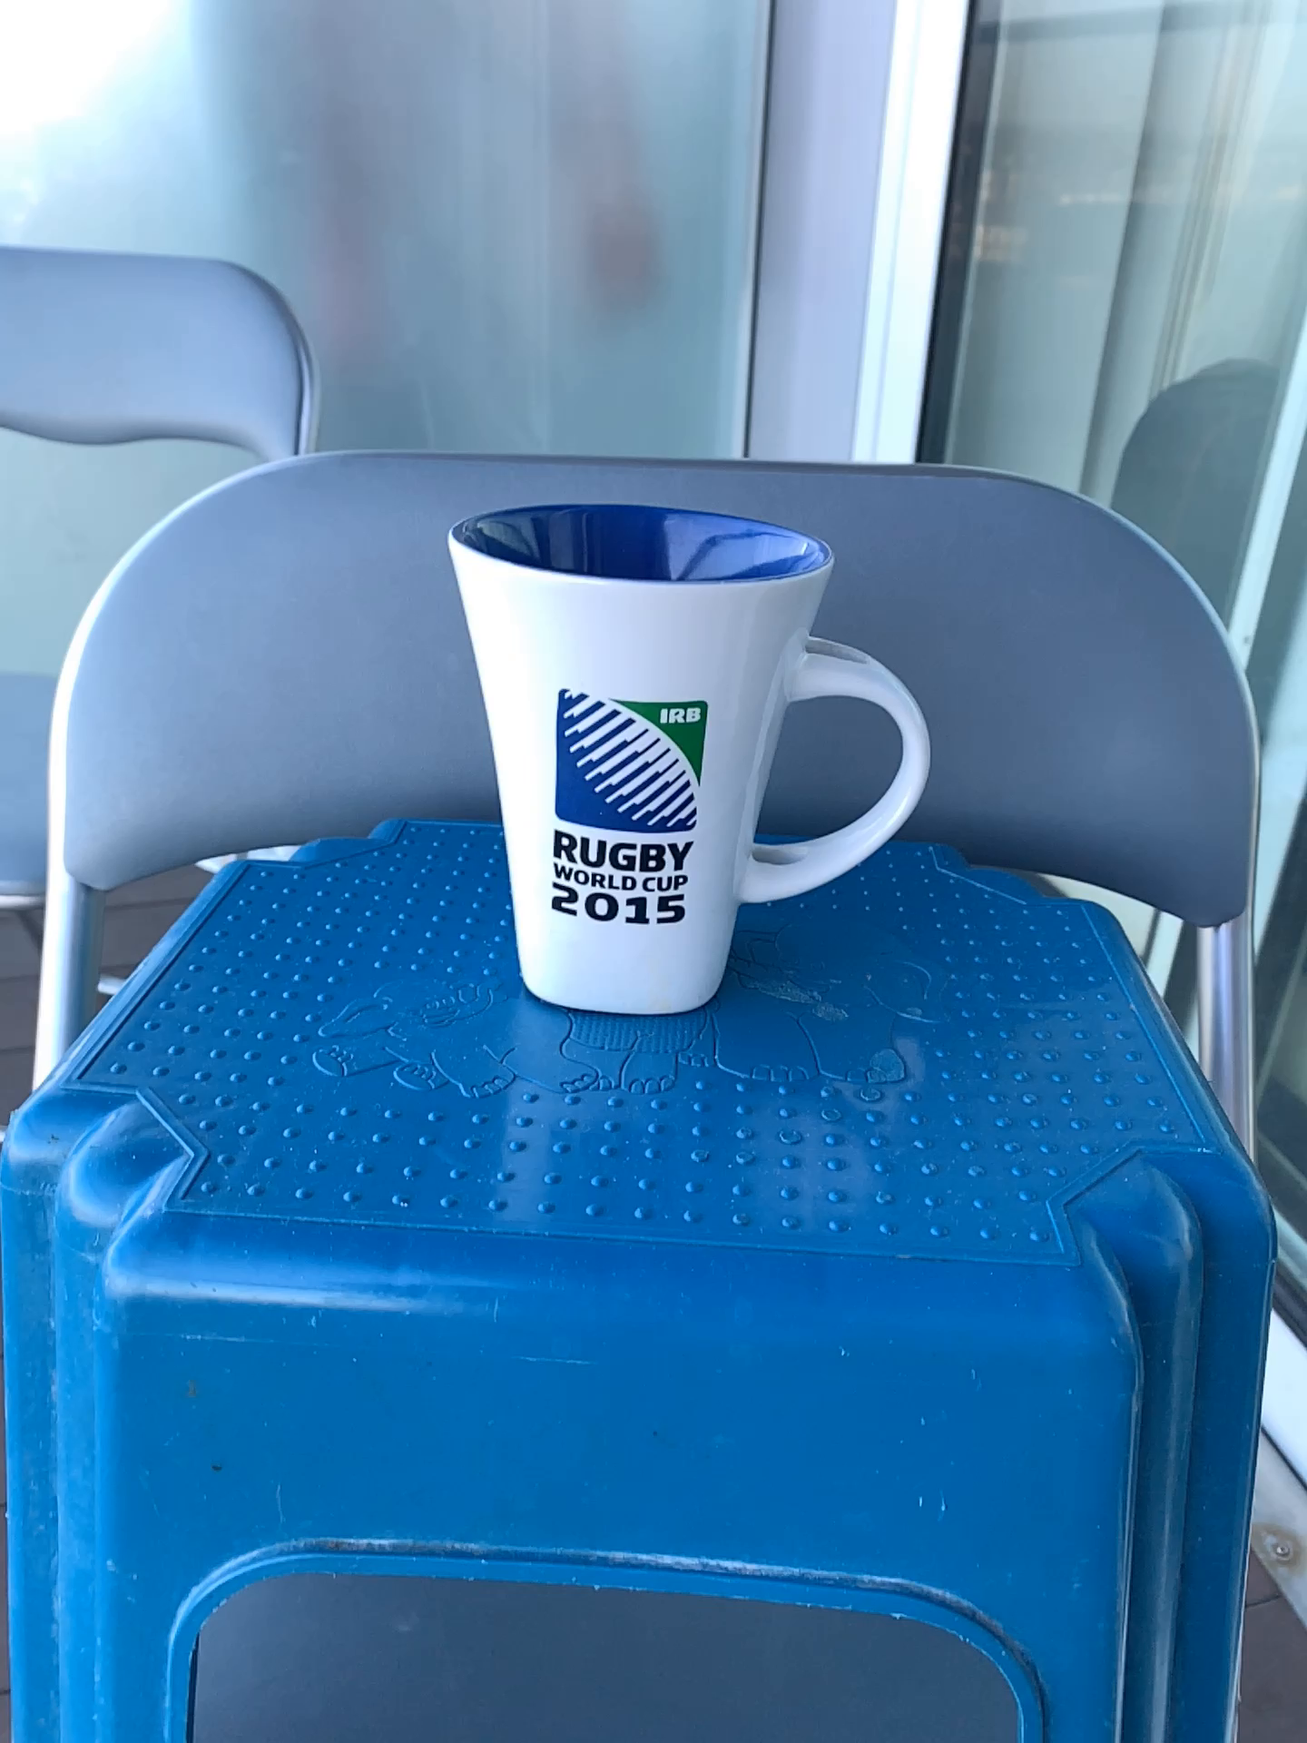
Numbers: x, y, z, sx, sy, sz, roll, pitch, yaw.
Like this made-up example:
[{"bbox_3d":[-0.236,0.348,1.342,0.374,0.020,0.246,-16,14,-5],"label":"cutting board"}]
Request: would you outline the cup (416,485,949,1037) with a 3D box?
[{"bbox_3d":[0.005,-0.030,0.330,0.107,0.105,0.083,3,27,1],"label":"cup"}]
